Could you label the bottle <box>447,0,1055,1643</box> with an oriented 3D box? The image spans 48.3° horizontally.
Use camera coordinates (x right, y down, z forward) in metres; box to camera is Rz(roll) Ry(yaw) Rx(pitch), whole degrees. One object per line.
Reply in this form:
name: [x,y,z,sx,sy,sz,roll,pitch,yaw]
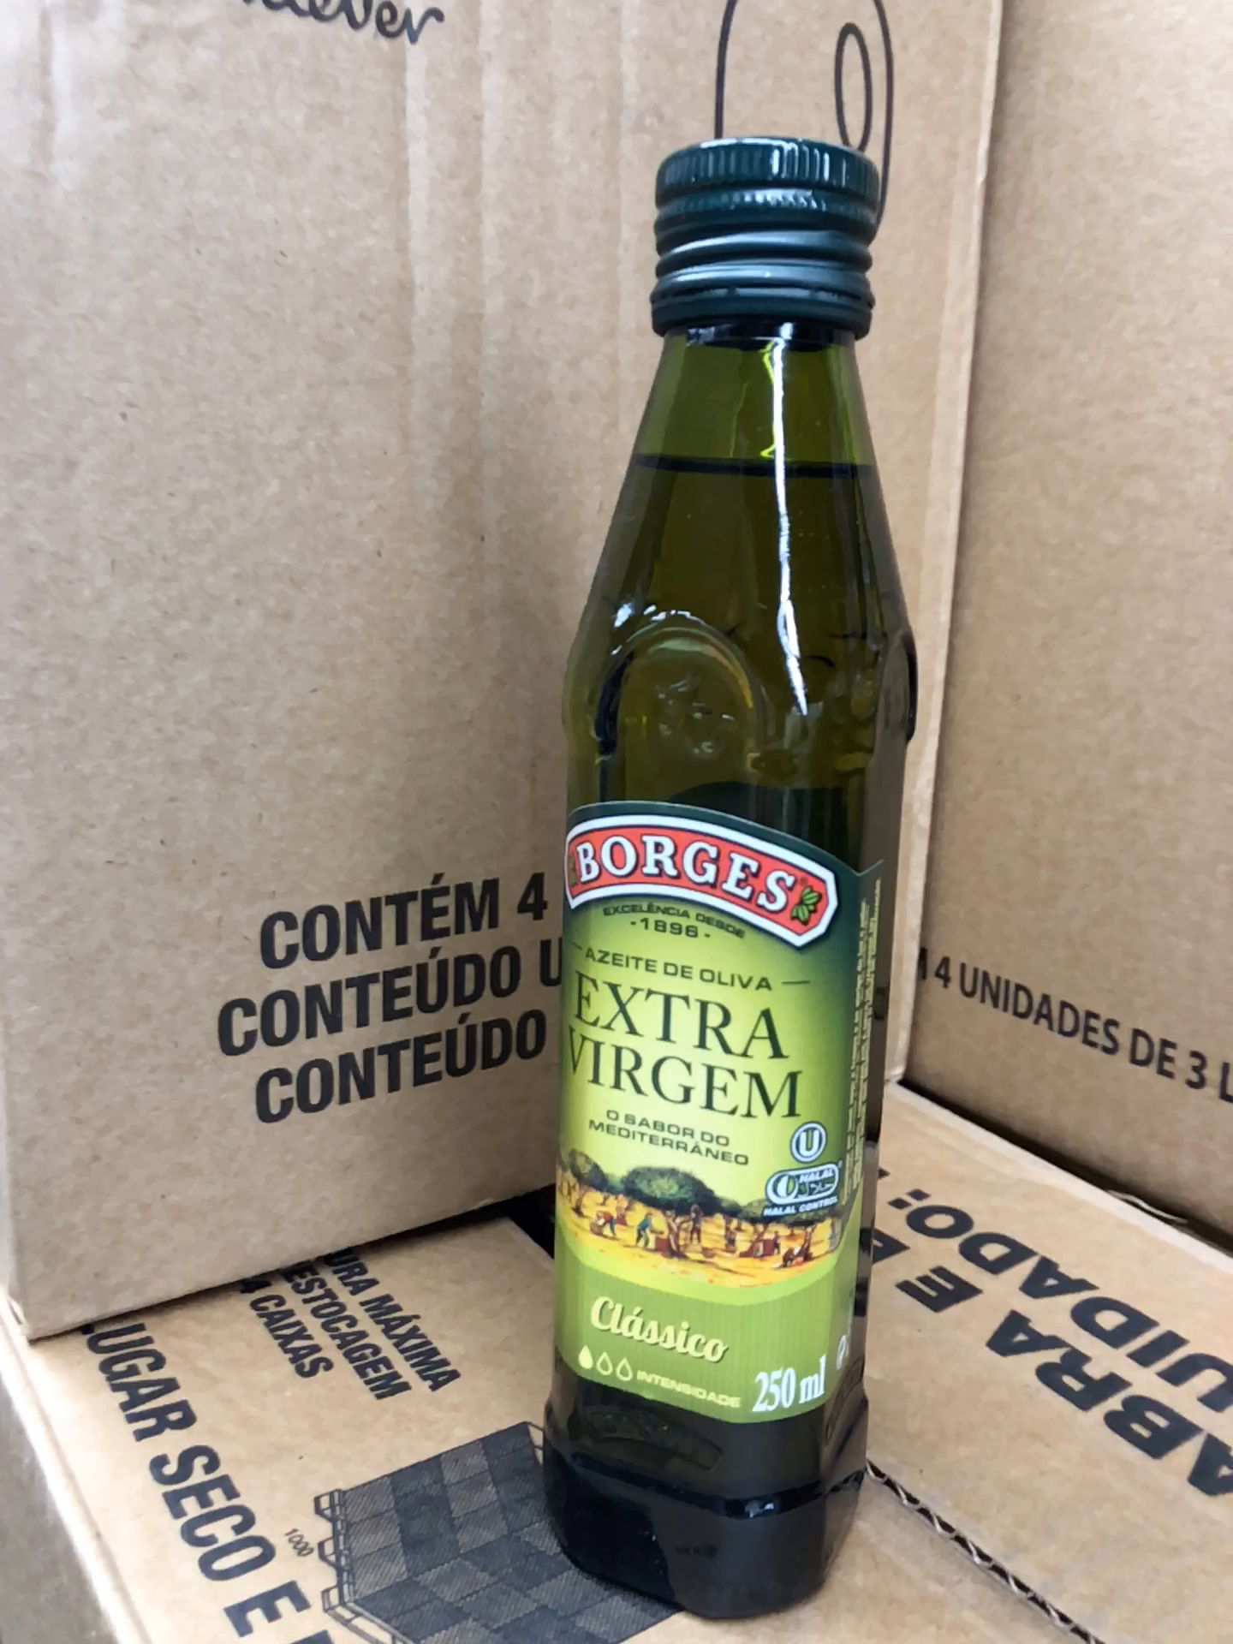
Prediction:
bottle: [0.019,0.002,0.205,0.060,0.219,0.060,3,13,-1]
